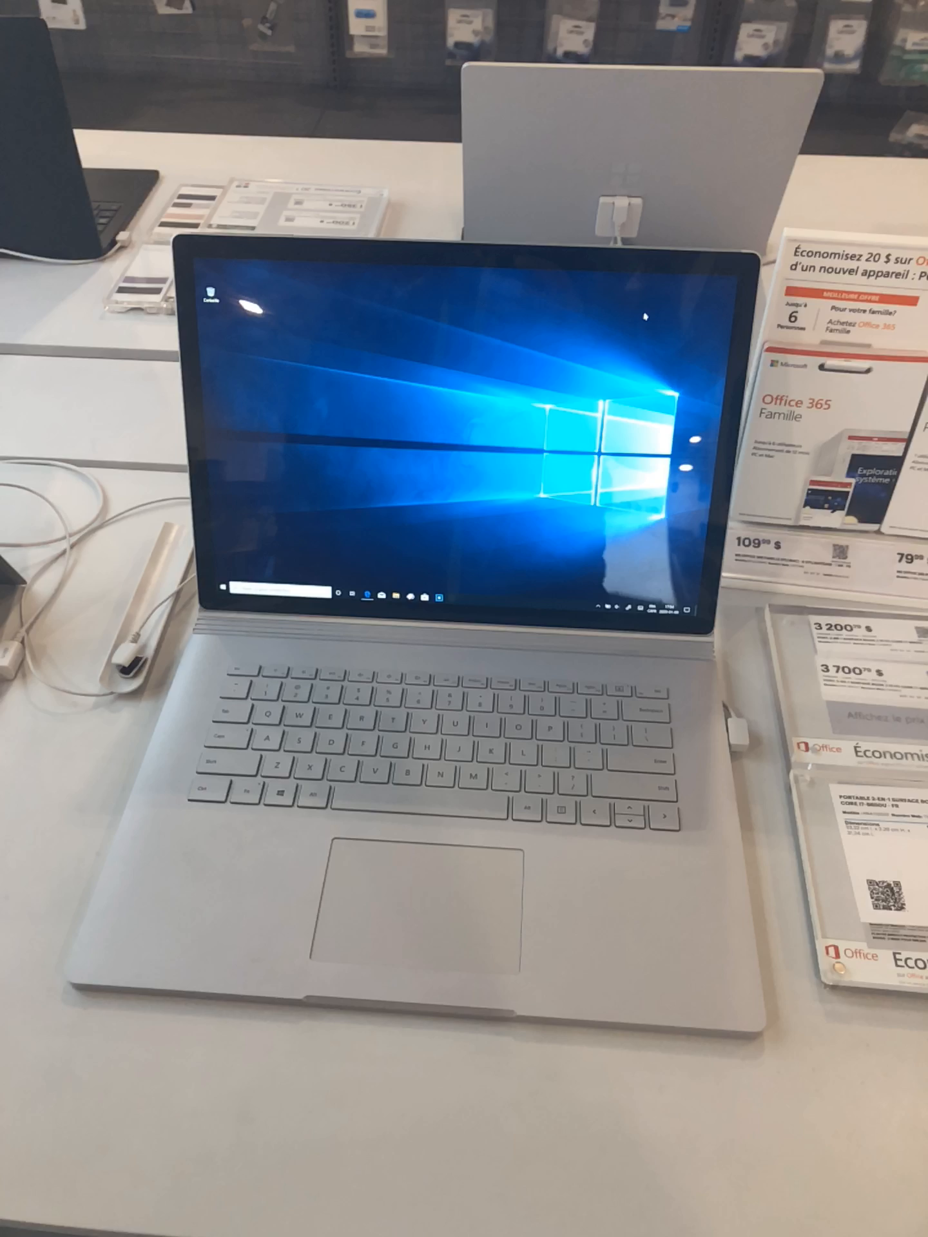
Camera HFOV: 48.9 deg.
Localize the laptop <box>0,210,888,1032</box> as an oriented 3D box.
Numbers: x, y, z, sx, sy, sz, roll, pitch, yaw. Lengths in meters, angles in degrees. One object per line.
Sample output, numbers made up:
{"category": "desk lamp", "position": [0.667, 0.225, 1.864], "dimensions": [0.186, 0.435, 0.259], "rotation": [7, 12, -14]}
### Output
{"category": "laptop", "position": [-0.015, -0.022, 0.549], "dimensions": [0.338, 0.207, 0.366], "rotation": [3, 47, 2]}
